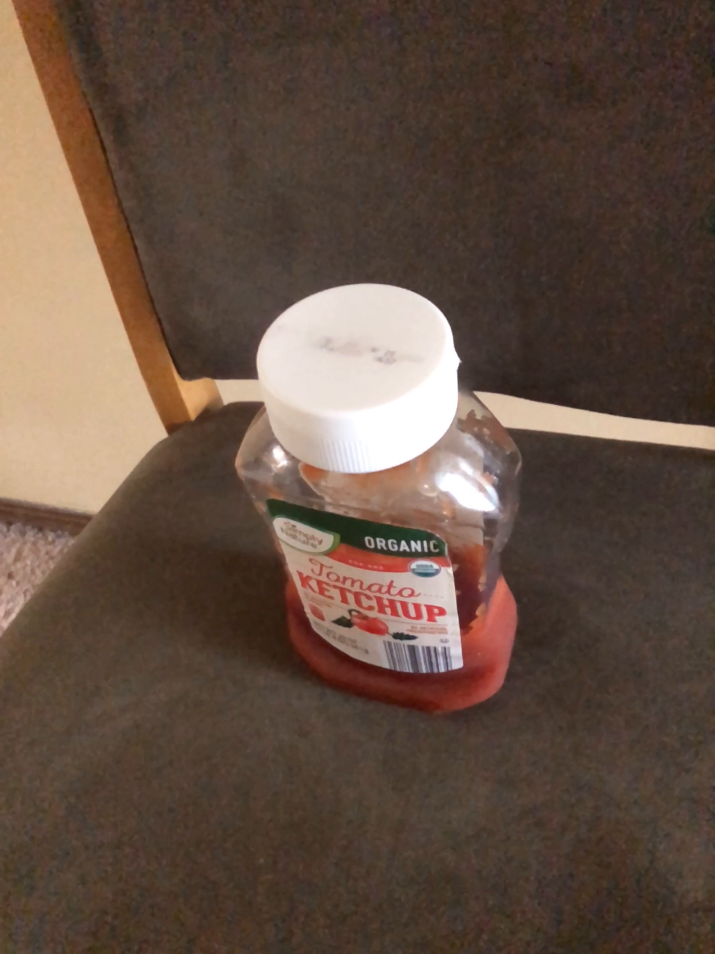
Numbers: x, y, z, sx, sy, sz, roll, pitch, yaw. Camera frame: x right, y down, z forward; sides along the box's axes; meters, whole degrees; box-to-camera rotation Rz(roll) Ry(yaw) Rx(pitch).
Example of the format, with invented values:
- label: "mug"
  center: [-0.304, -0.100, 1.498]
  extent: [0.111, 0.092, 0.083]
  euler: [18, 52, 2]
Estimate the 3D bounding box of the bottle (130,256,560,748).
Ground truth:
- label: "bottle"
  center: [0.008, 0.018, 0.273]
  extent: [0.100, 0.170, 0.060]
  euler: [11, 53, 18]
